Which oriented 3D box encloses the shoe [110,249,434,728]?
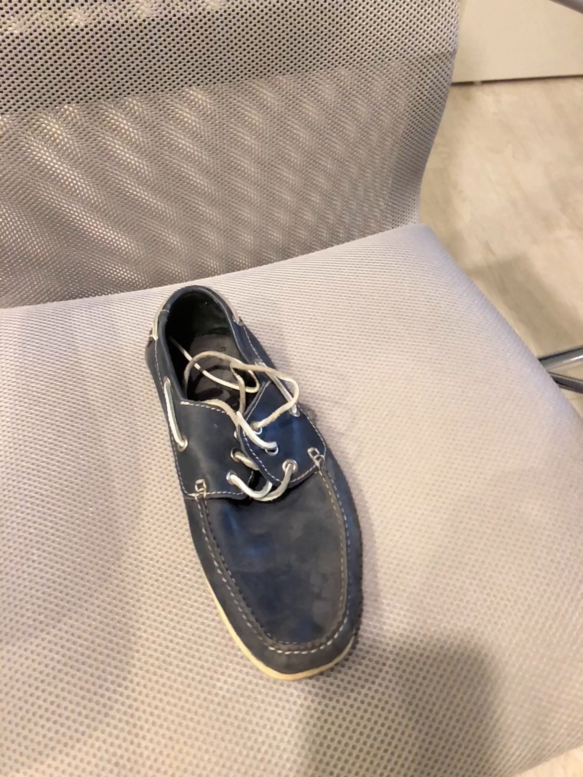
[{"bbox_3d":[-0.030,0.051,0.441,0.120,0.099,0.291,-15,57,-12],"label":"shoe"}]
